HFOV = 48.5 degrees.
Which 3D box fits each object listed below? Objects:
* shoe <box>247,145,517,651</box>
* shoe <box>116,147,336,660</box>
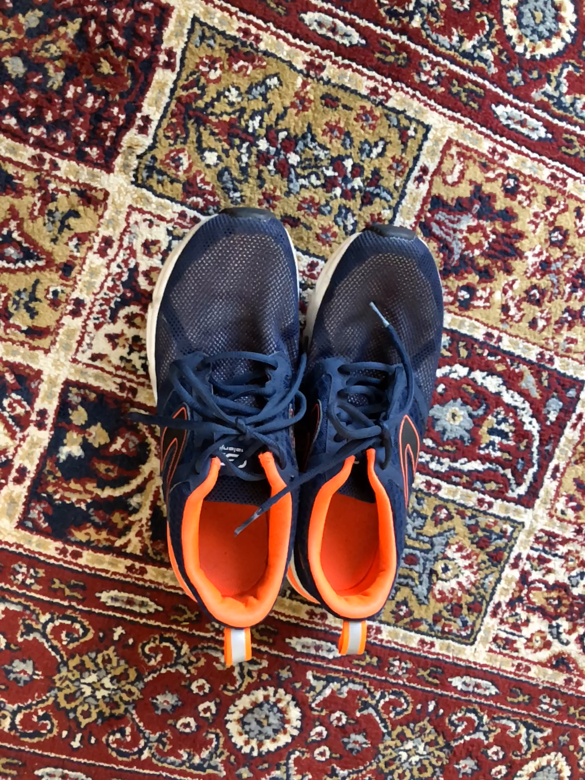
[{"bbox_3d":[0.052,0.008,0.496,0.120,0.130,0.330,7,98,-10],"label":"shoe"},{"bbox_3d":[-0.055,0.011,0.483,0.120,0.130,0.330,3,99,-9],"label":"shoe"}]
